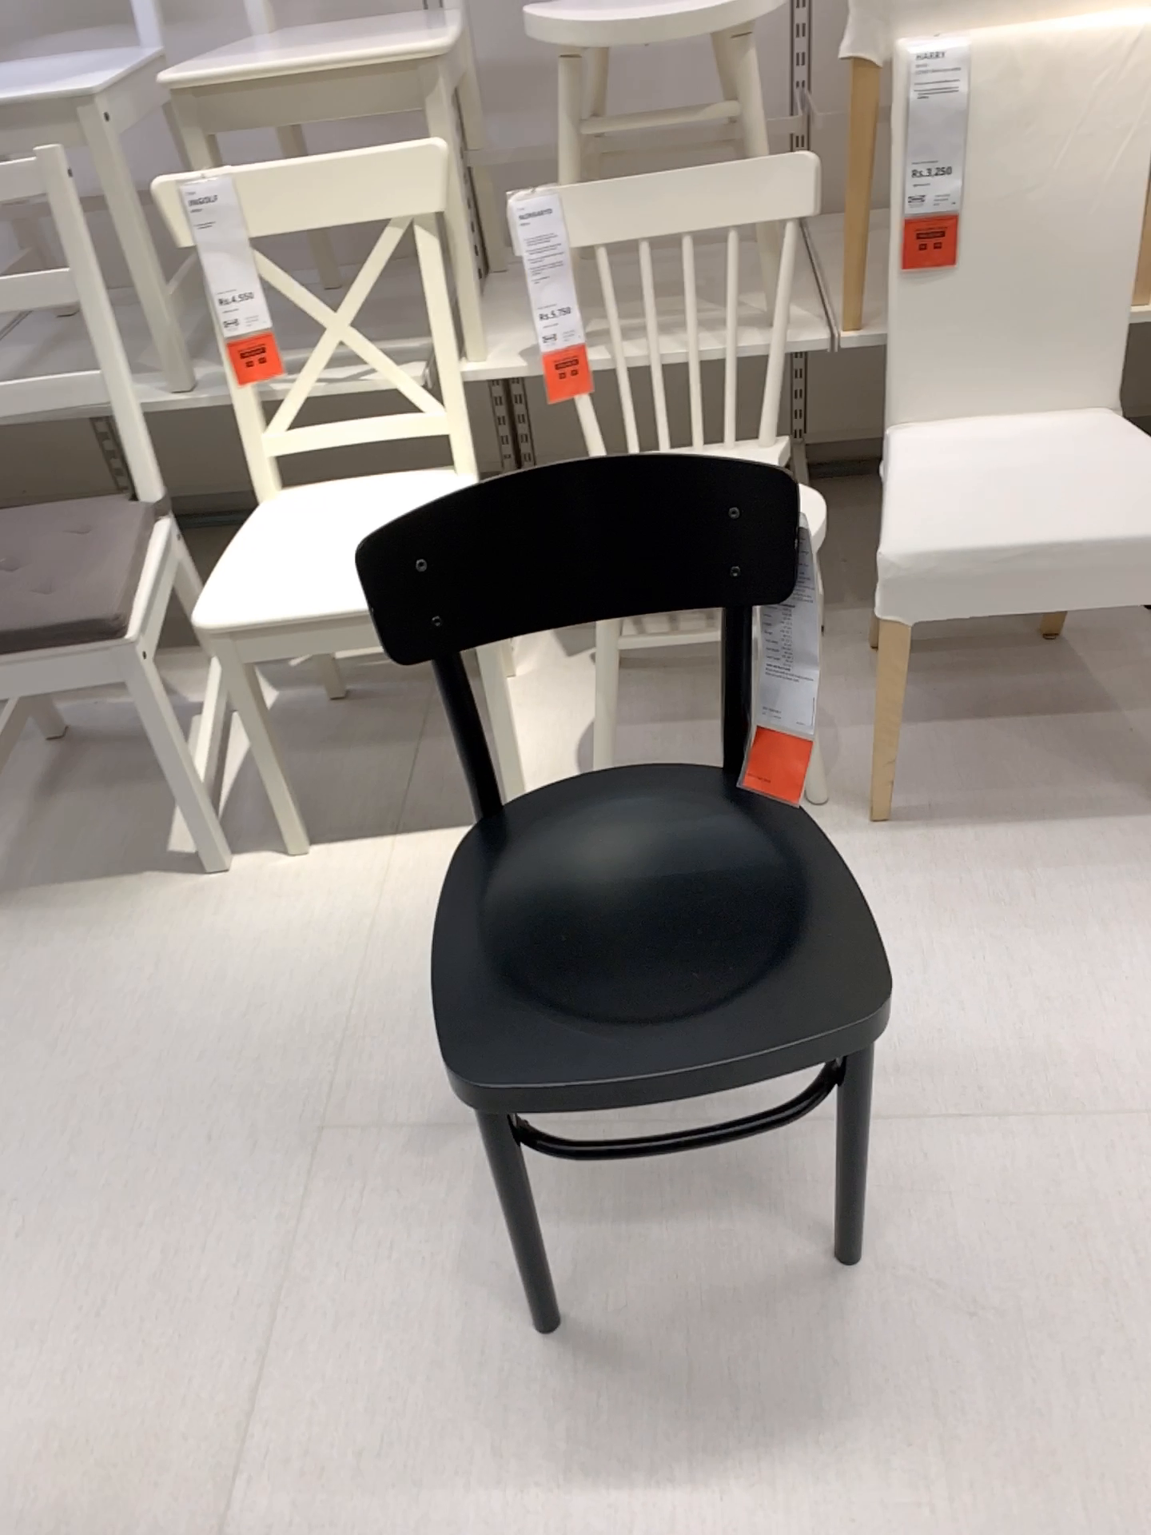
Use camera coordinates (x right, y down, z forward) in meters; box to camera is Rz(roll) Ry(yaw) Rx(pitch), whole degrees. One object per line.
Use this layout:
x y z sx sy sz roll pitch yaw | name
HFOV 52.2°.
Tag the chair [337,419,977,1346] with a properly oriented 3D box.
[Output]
0.063 0.140 1.199 0.430 0.767 0.472 -11 40 -3 | chair
